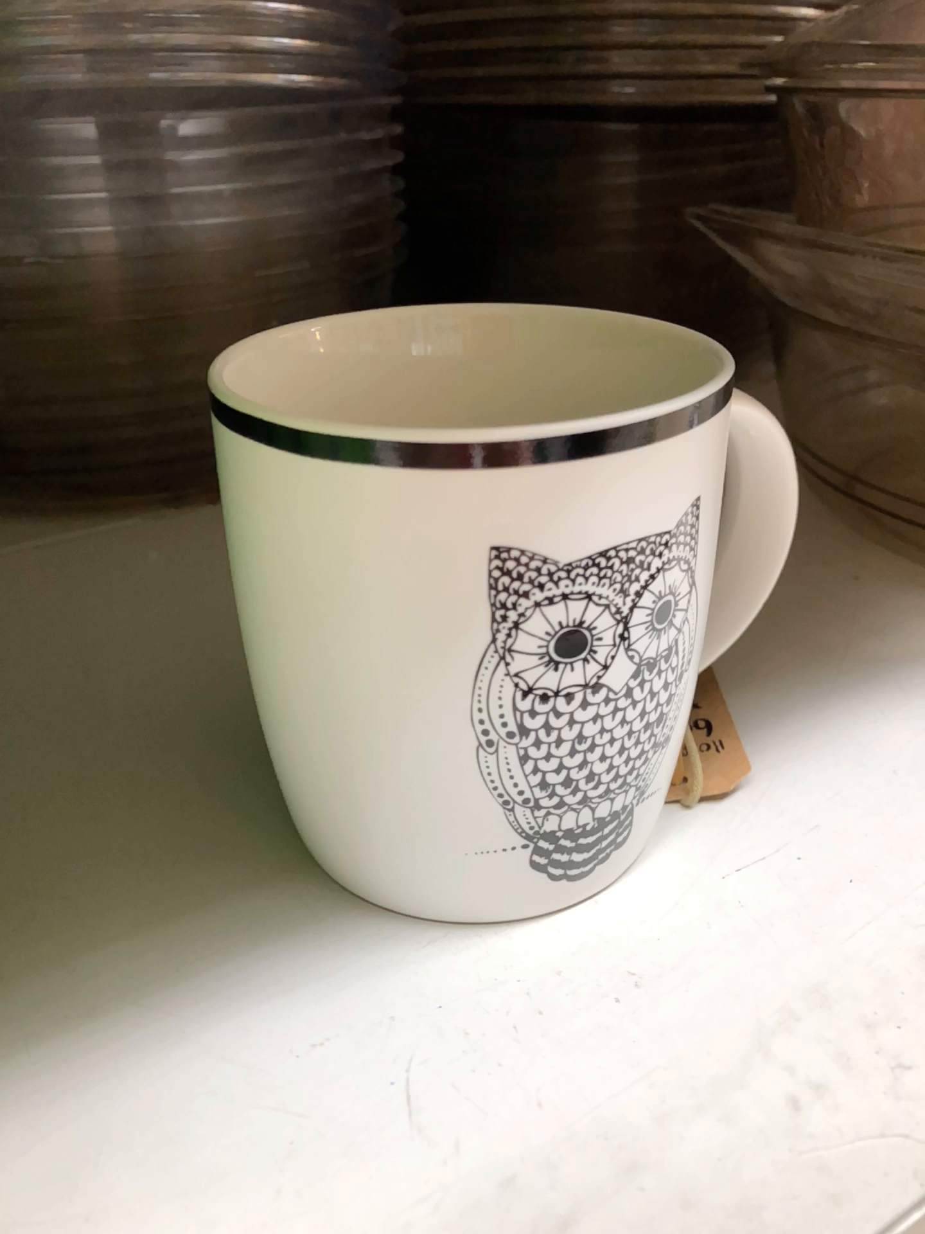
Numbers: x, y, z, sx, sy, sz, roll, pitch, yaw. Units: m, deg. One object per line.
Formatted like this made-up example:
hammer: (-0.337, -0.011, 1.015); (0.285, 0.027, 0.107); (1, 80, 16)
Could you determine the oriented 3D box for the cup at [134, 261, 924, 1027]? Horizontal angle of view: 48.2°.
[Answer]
cup: (0.014, -0.009, 0.196); (0.110, 0.093, 0.077); (-21, 33, -33)
